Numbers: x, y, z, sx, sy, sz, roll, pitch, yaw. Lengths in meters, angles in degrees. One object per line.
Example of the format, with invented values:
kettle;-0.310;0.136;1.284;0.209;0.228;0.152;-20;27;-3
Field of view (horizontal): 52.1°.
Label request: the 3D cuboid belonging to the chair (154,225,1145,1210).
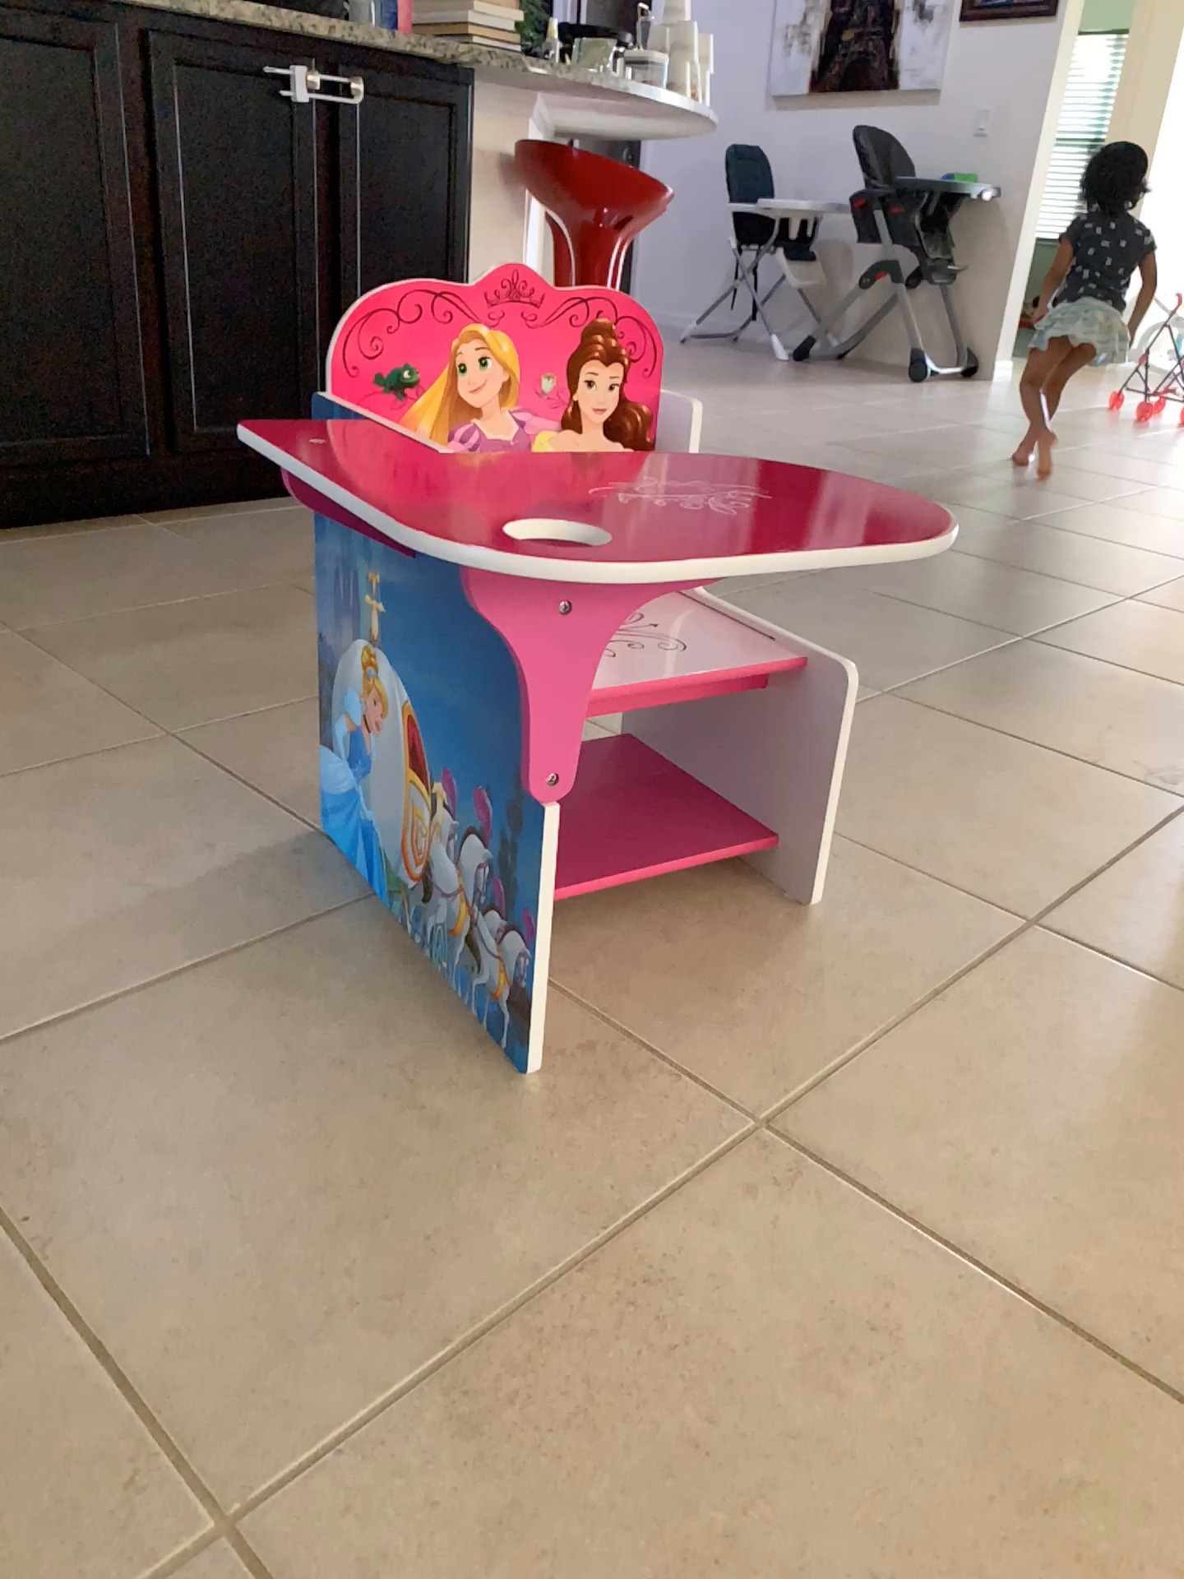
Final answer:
chair;-0.003;-0.136;1.031;0.533;0.567;0.551;-12;29;-33
